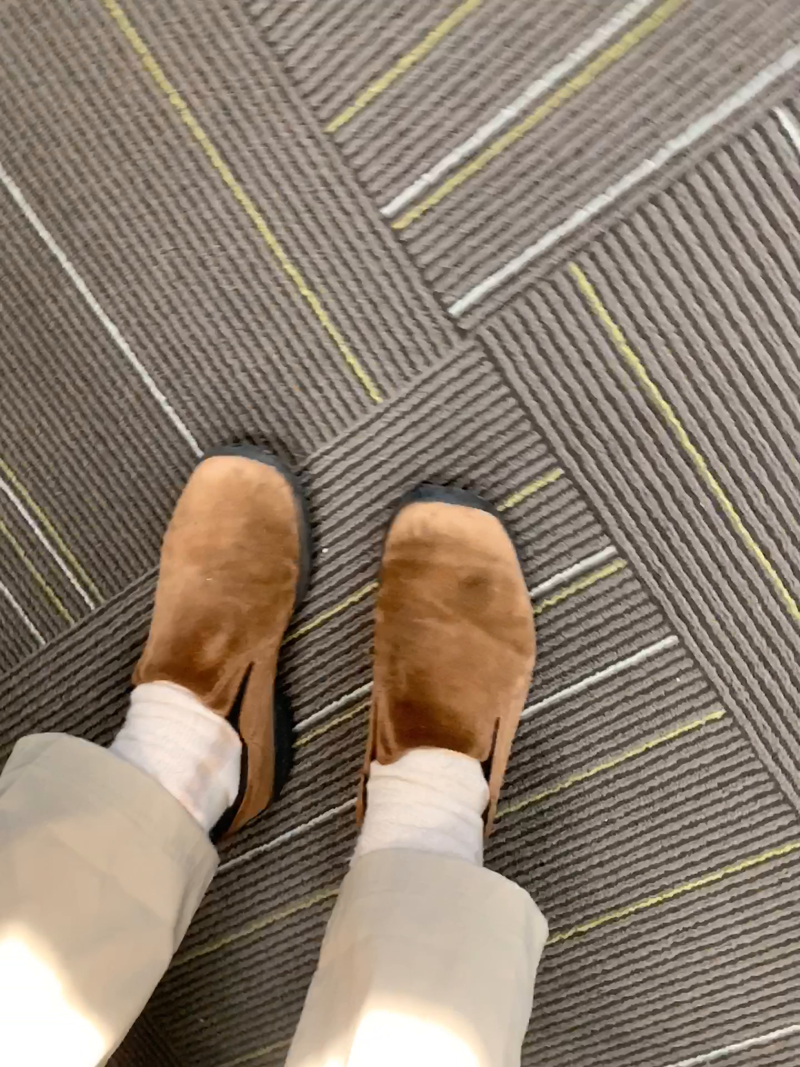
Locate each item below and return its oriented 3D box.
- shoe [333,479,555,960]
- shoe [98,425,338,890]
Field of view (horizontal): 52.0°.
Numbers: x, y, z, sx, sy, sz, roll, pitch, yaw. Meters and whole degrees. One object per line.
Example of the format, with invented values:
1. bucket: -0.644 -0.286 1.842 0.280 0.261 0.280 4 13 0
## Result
1. shoe: 0.027 0.126 0.563 0.120 0.077 0.308 7 108 13
2. shoe: -0.135 0.090 0.591 0.119 0.077 0.308 14 109 11
